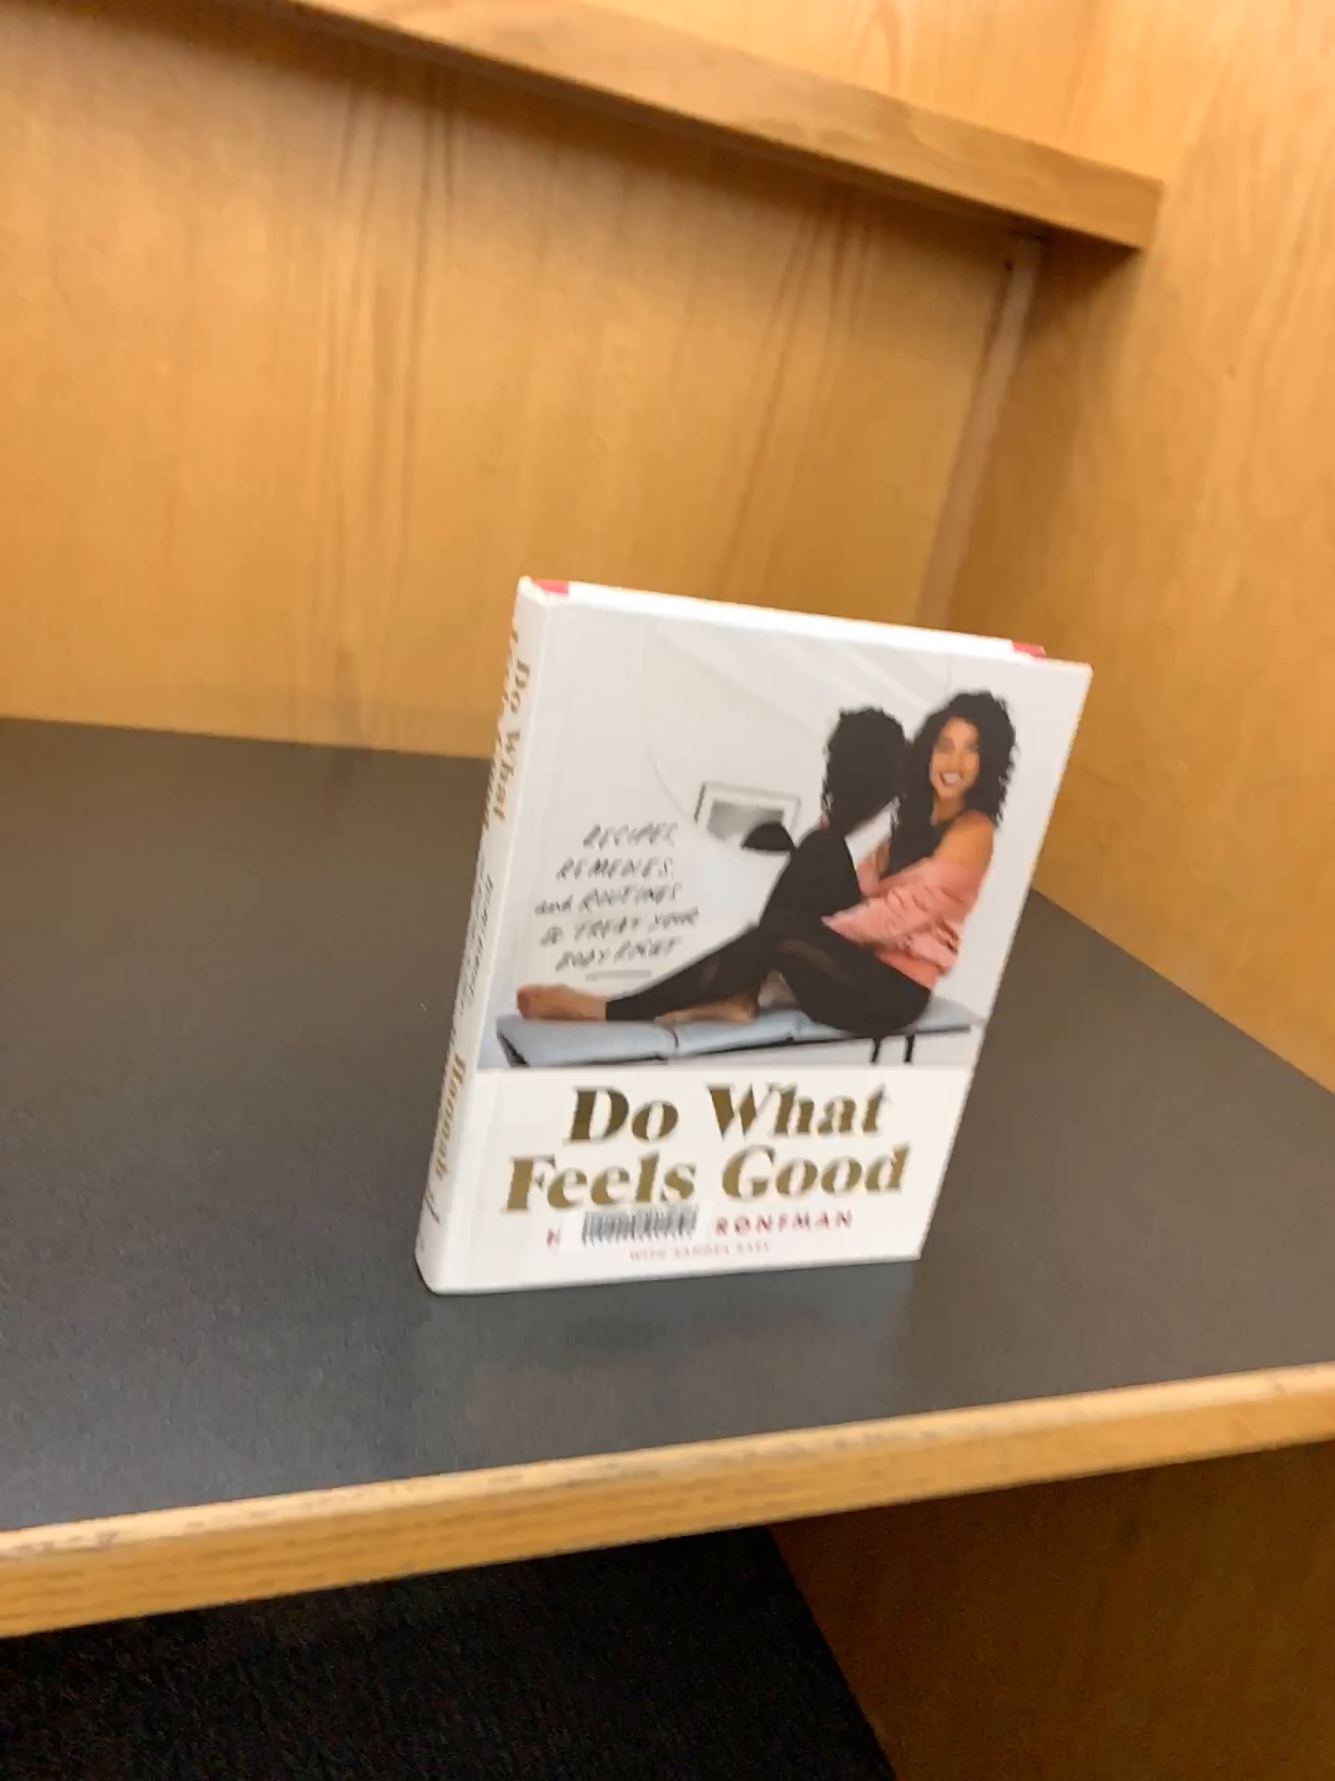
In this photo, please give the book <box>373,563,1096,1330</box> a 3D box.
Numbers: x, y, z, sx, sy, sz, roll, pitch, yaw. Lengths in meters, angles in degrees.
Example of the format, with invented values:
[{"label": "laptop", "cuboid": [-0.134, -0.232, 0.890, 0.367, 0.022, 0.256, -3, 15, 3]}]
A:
[{"label": "book", "cuboid": [0.021, 0.029, 0.473, 0.210, 0.249, 0.030, 2, 22, -25]}]
